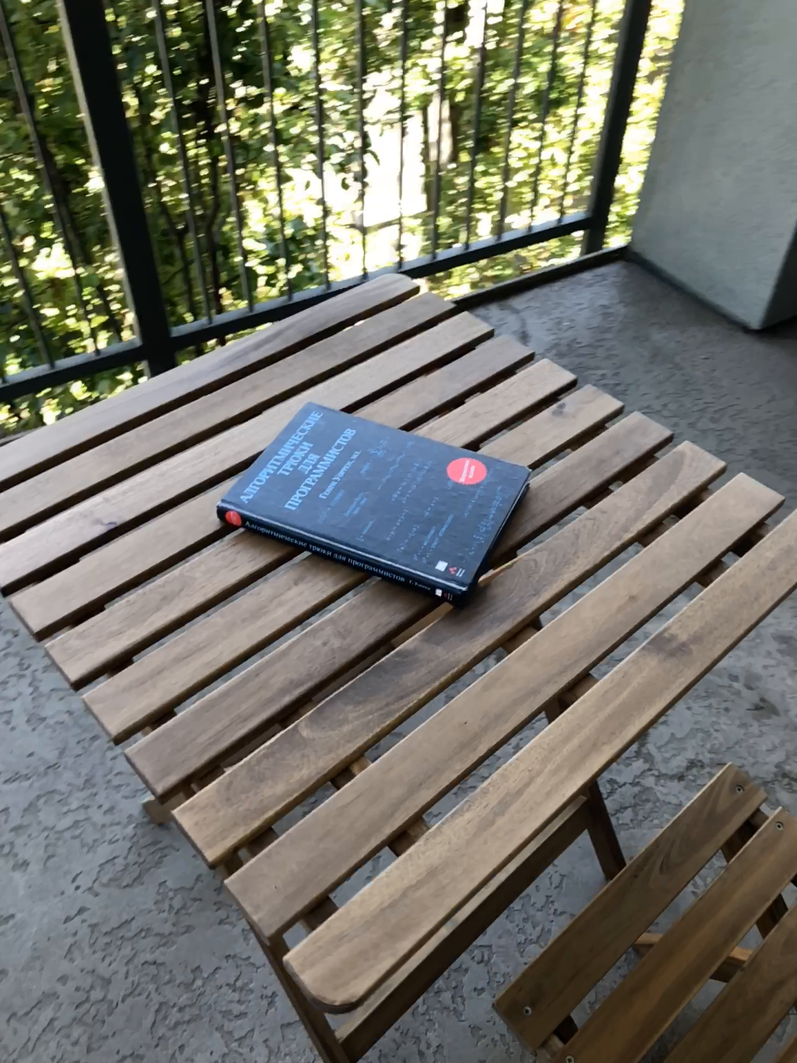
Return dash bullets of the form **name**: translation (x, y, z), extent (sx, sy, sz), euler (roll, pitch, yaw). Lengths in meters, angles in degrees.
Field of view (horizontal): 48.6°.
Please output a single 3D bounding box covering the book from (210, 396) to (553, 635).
- **book**: translation (-0.011, -0.026, 0.790), extent (0.250, 0.030, 0.181), euler (19, 49, 16)
